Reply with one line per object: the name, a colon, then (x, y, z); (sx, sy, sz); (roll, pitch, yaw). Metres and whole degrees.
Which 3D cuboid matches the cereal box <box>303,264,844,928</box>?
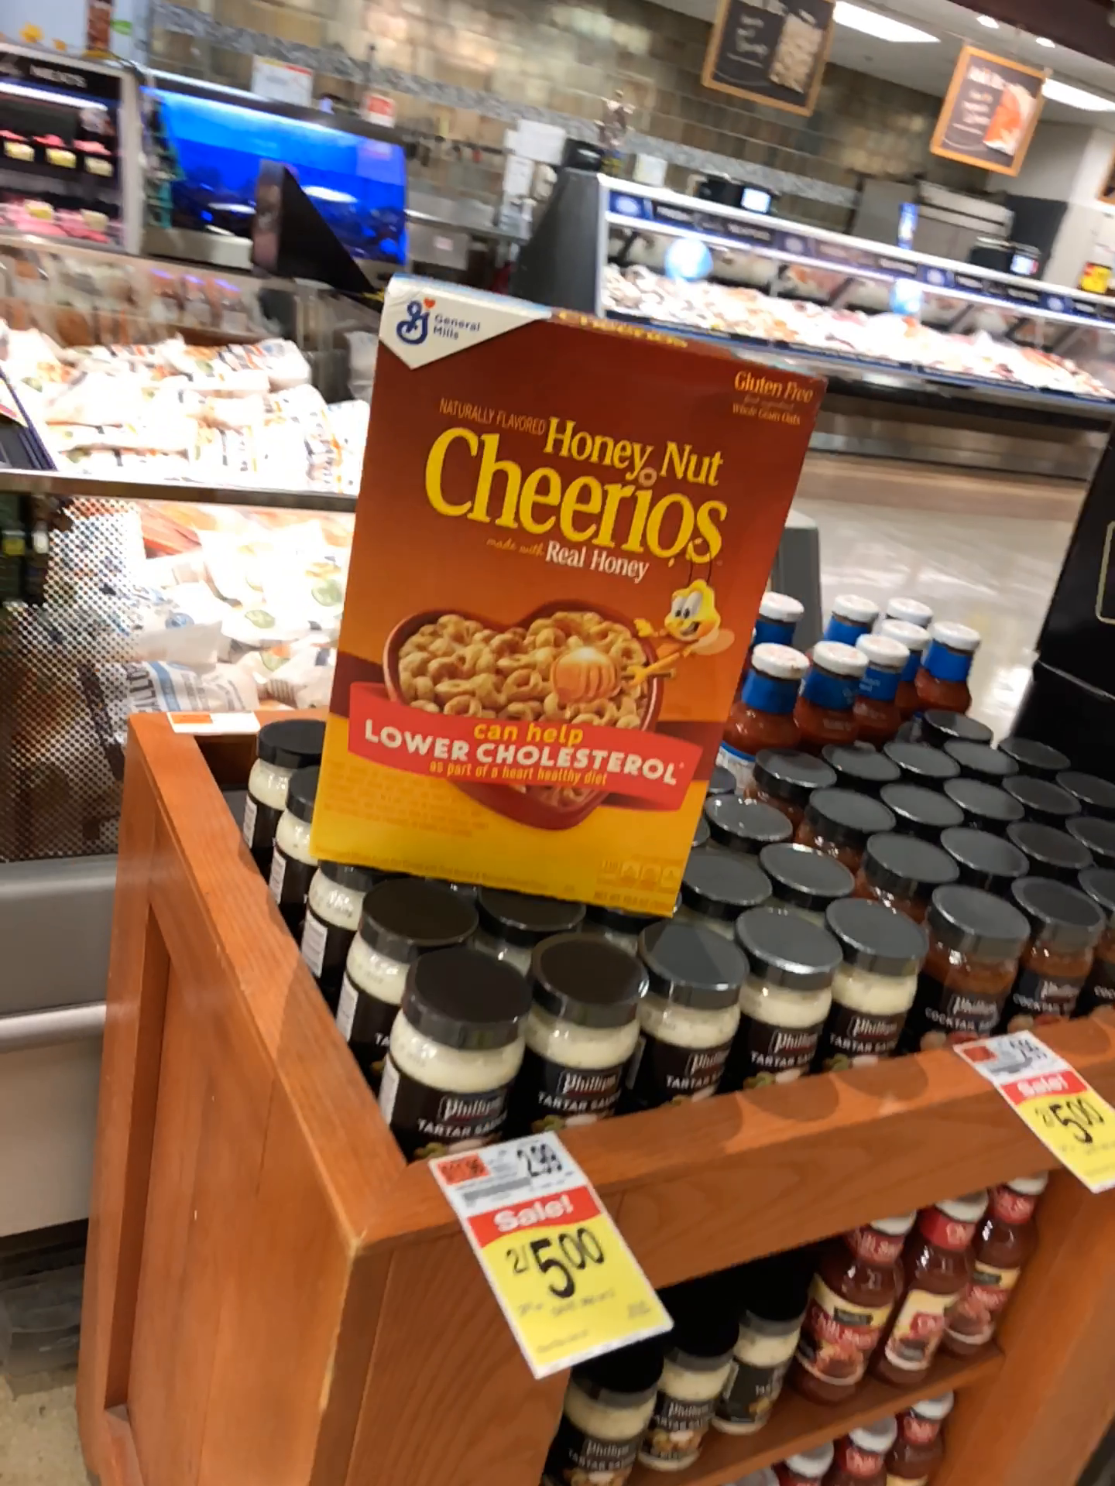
cereal box: (-0.003, -0.060, 0.597); (0.200, 0.288, 0.050); (10, 23, -5)
